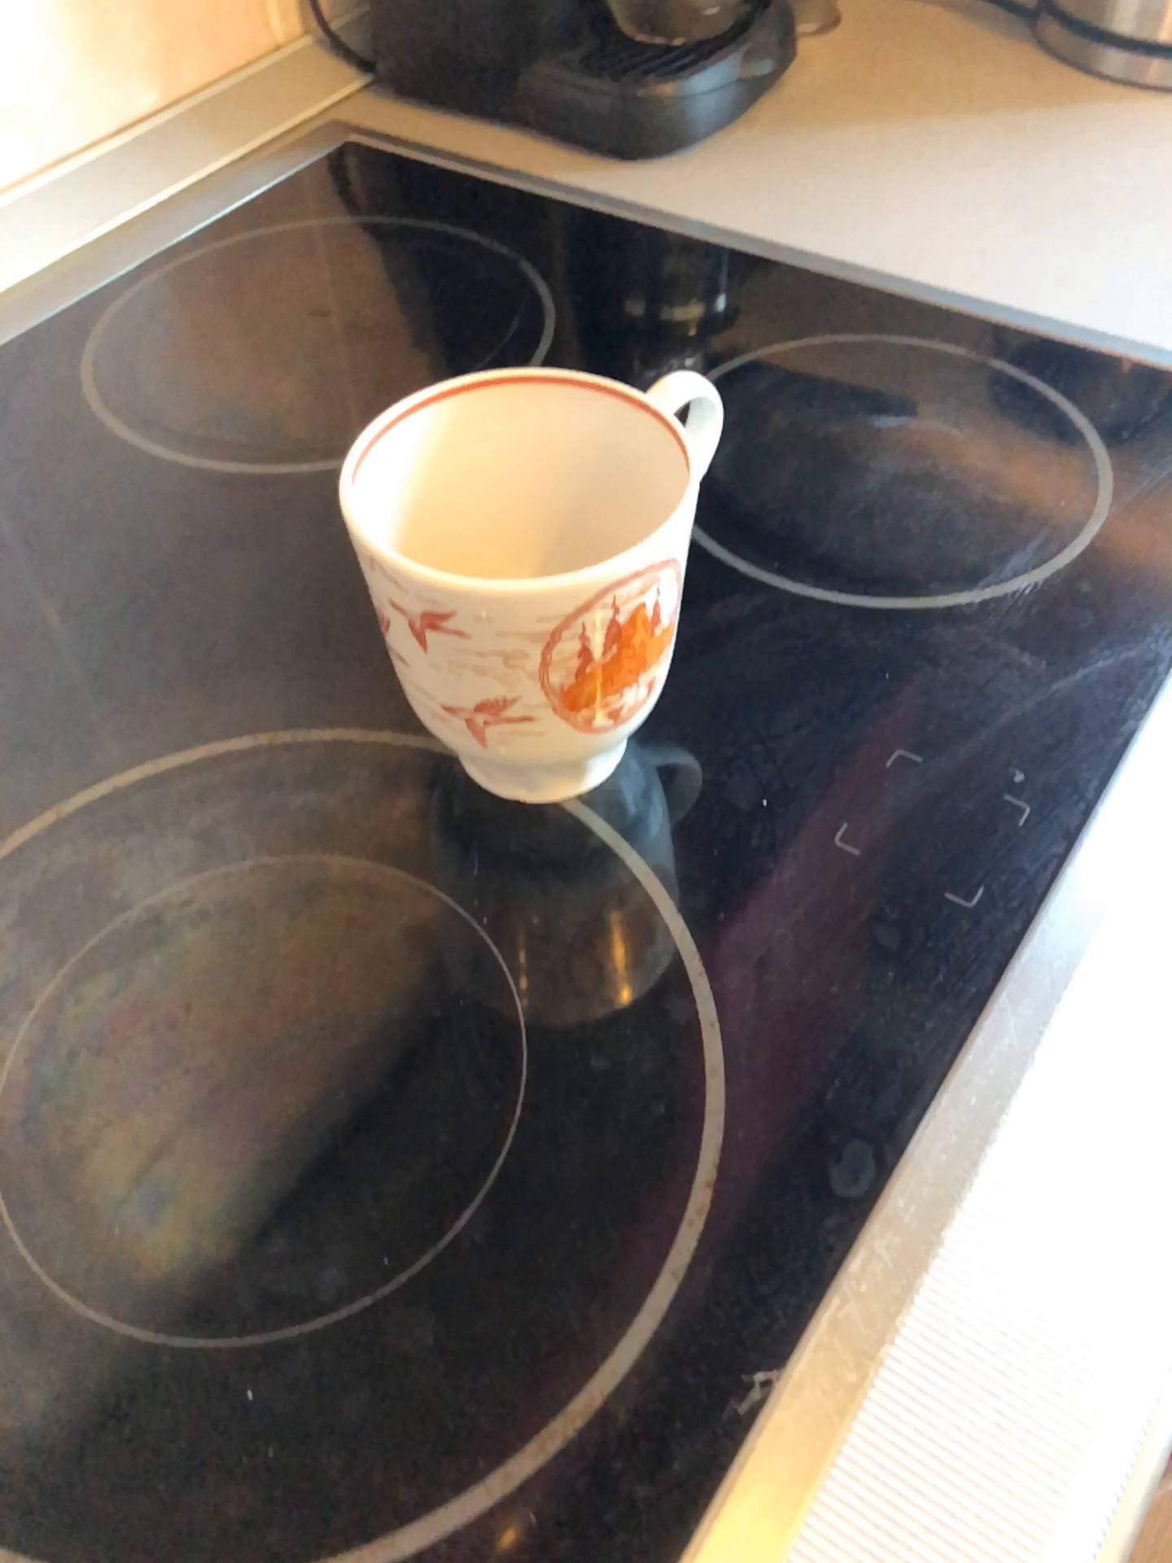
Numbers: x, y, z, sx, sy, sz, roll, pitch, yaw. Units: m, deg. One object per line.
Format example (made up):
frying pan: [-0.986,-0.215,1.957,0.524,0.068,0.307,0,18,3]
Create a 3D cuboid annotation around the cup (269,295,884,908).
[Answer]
cup: [-0.001,-0.052,0.350,0.120,0.090,0.090,-31,55,-23]
